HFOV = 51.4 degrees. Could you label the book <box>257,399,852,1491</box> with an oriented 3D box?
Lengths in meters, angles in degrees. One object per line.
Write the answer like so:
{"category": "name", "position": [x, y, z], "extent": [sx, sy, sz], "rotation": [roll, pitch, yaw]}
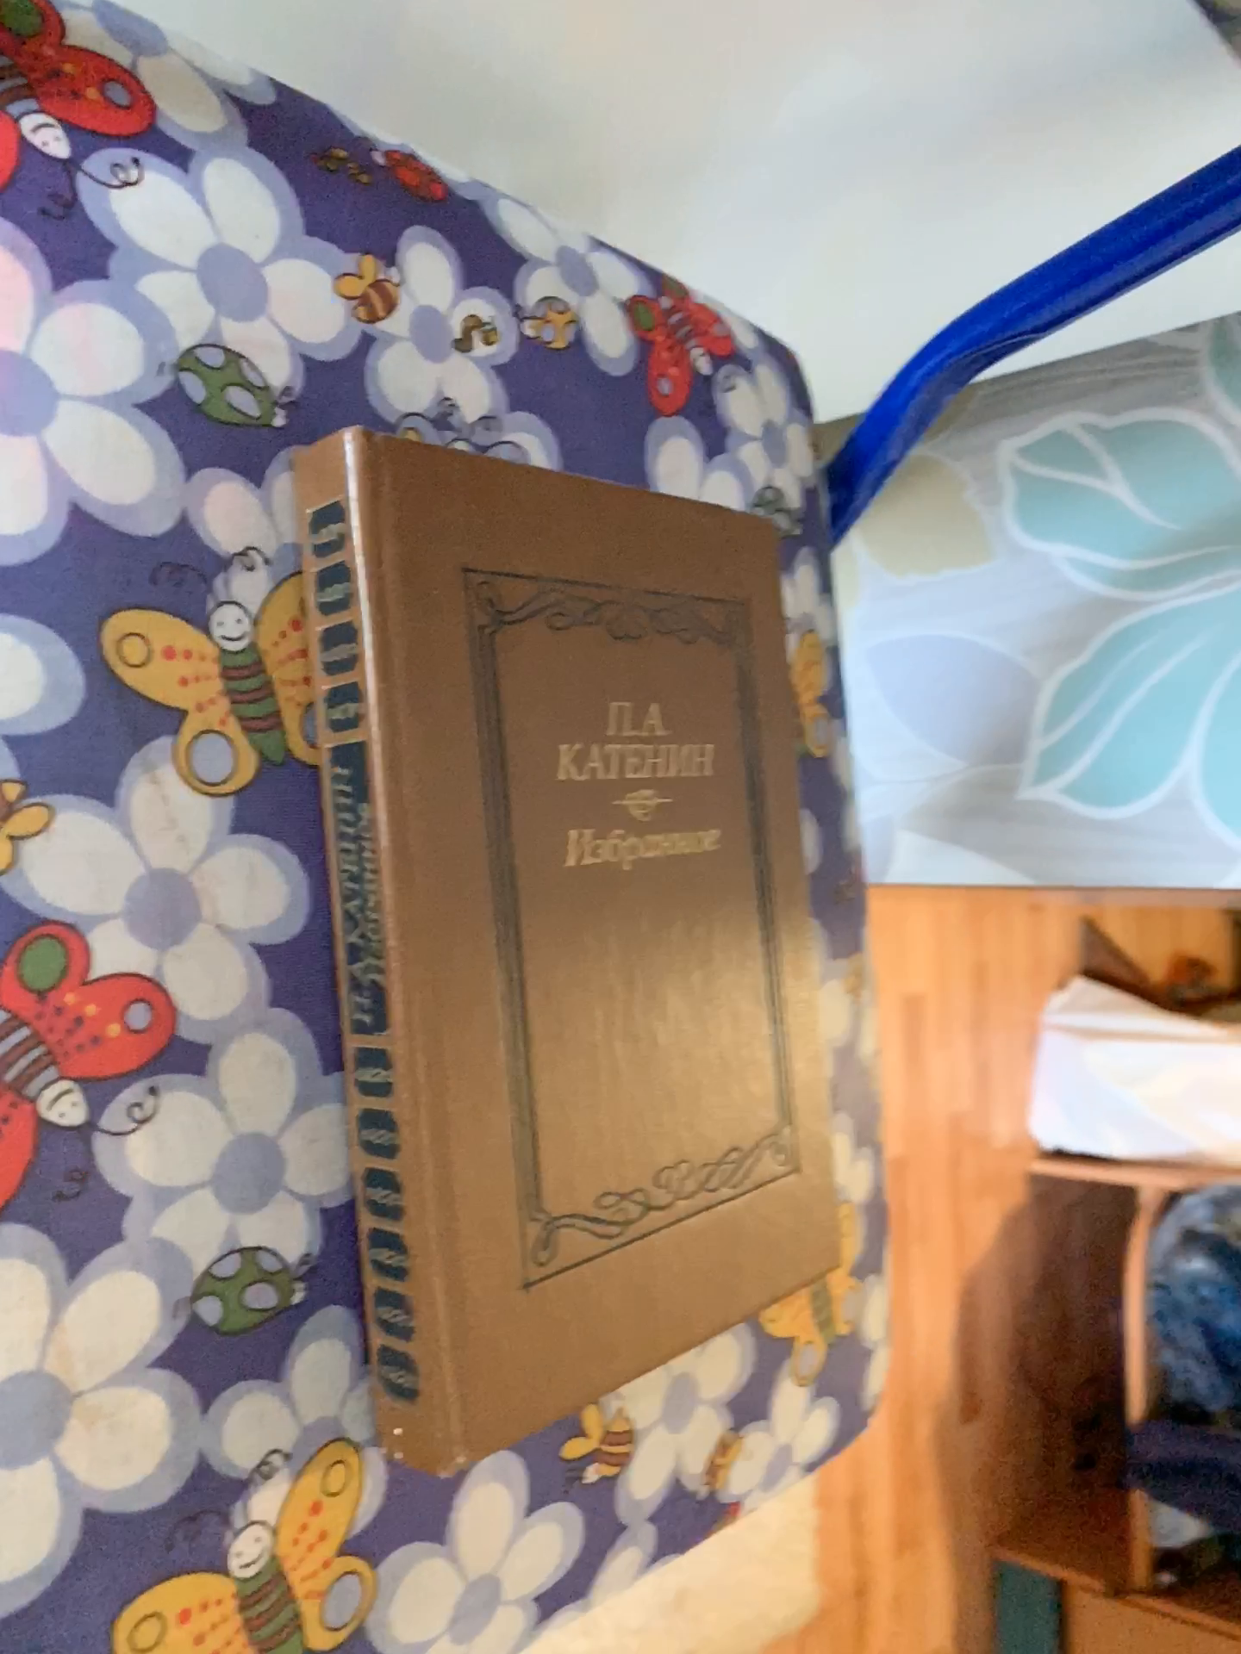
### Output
{"category": "book", "position": [-0.004, 0.015, 0.253], "extent": [0.124, 0.020, 0.170], "rotation": [-5, 90, -47]}
